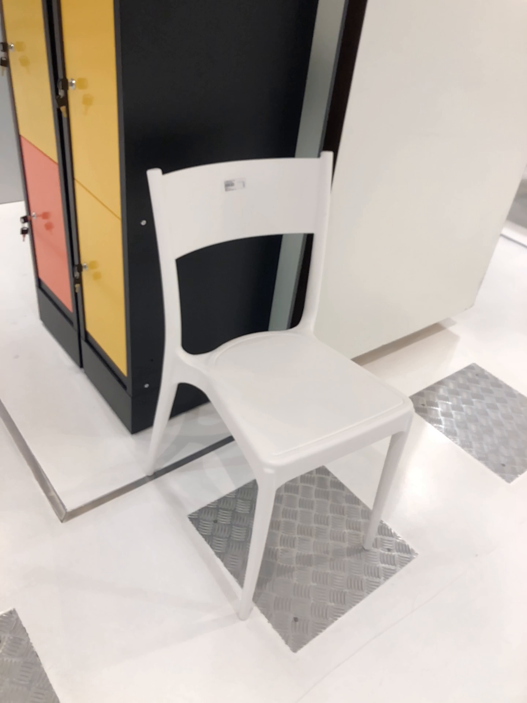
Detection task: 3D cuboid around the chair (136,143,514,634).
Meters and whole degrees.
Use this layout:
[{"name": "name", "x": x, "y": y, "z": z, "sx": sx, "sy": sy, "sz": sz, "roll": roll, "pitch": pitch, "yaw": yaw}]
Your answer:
[{"name": "chair", "x": 0.041, "y": 0.060, "z": 1.169, "sx": 0.411, "sy": 0.764, "sz": 0.482, "roll": -17, "pitch": 43, "yaw": -31}]
